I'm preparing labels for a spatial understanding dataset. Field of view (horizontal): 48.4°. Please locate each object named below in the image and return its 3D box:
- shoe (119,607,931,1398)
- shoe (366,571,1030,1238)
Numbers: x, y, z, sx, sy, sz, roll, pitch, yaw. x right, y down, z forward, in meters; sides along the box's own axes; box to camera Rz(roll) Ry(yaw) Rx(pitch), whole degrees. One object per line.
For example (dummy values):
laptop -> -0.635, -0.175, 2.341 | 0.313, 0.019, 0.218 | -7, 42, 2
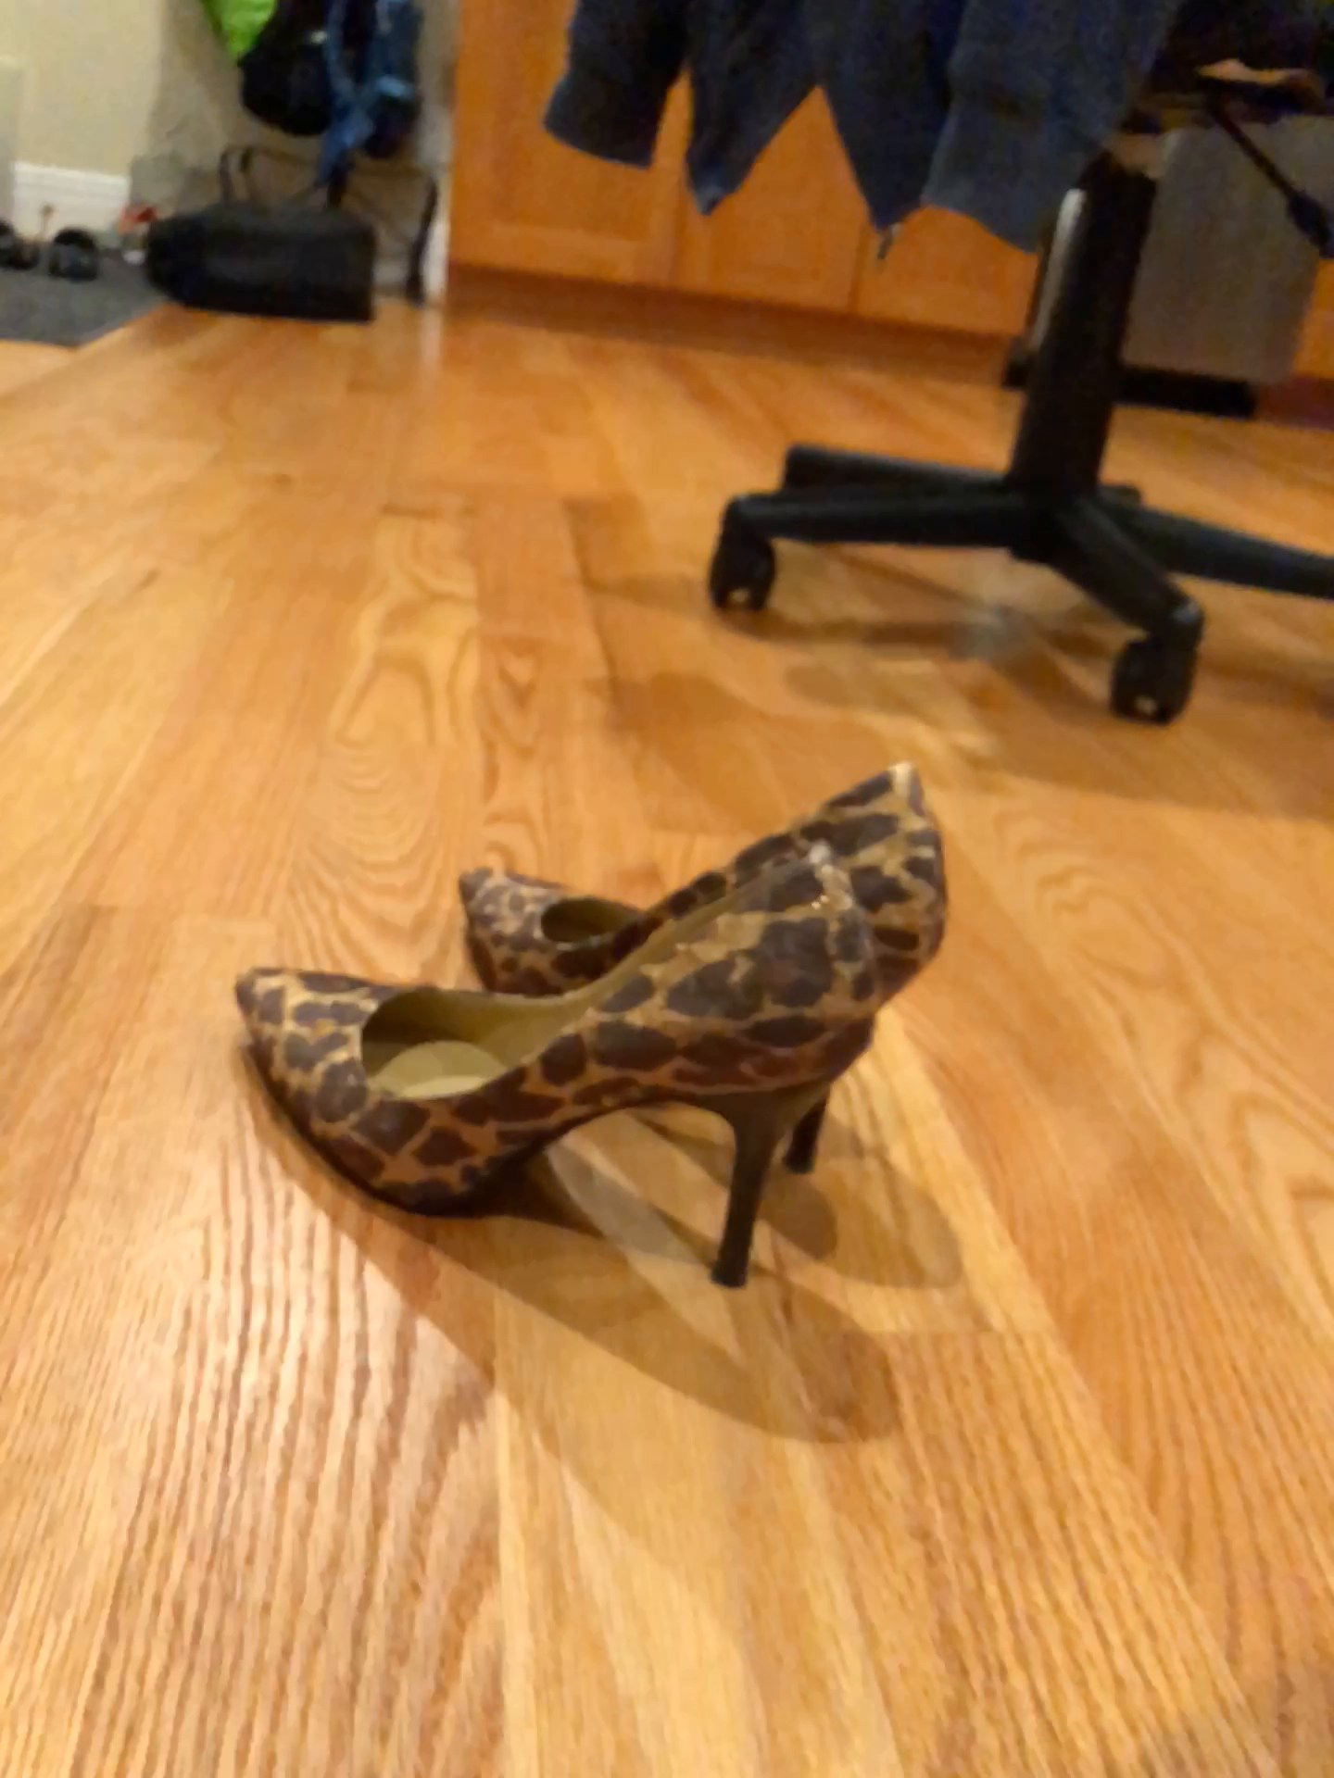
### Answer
shoe -> -0.053, 0.019, 0.438 | 0.219, 0.144, 0.084 | 21, 27, 27
shoe -> -0.005, -0.010, 0.517 | 0.084, 0.144, 0.219 | -15, 33, -42
